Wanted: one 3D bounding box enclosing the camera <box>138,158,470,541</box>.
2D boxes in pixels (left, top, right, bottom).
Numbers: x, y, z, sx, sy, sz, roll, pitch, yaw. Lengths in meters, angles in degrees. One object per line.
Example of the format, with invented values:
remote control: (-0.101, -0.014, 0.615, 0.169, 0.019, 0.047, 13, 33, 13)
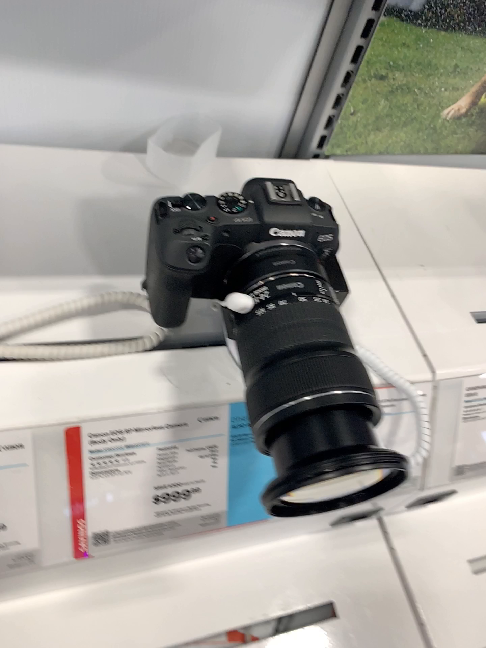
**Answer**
camera: (0.013, 0.006, 0.310, 0.132, 0.100, 0.200, -1, 54, -17)
